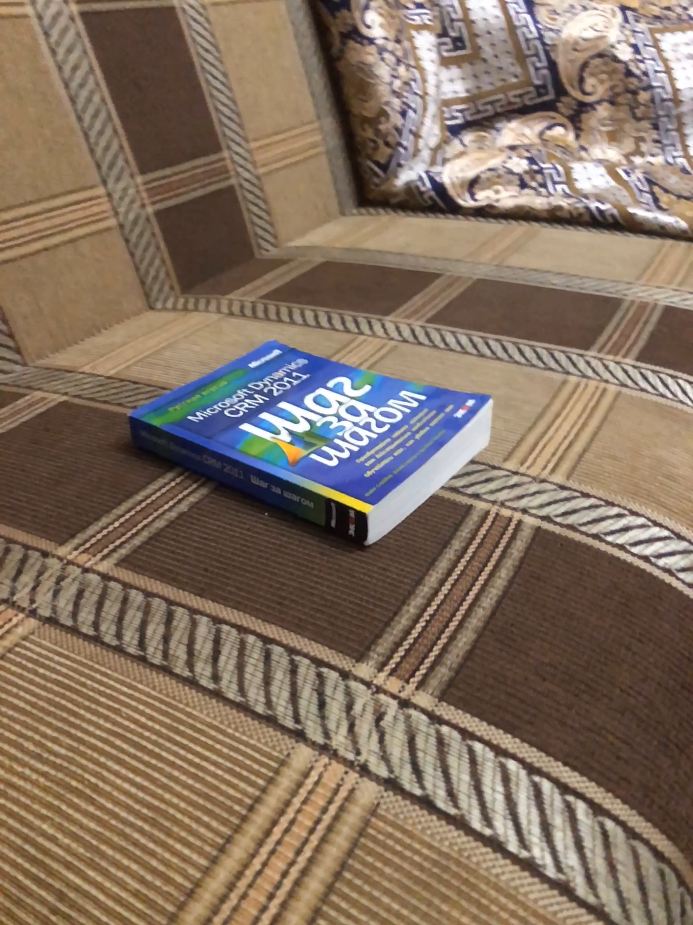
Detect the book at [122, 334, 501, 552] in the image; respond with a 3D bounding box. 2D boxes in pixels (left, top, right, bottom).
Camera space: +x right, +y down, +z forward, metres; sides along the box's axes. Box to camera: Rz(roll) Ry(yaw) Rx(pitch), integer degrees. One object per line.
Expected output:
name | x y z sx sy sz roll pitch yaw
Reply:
book | -0.023 -0.026 0.511 0.200 0.030 0.151 20 37 30
